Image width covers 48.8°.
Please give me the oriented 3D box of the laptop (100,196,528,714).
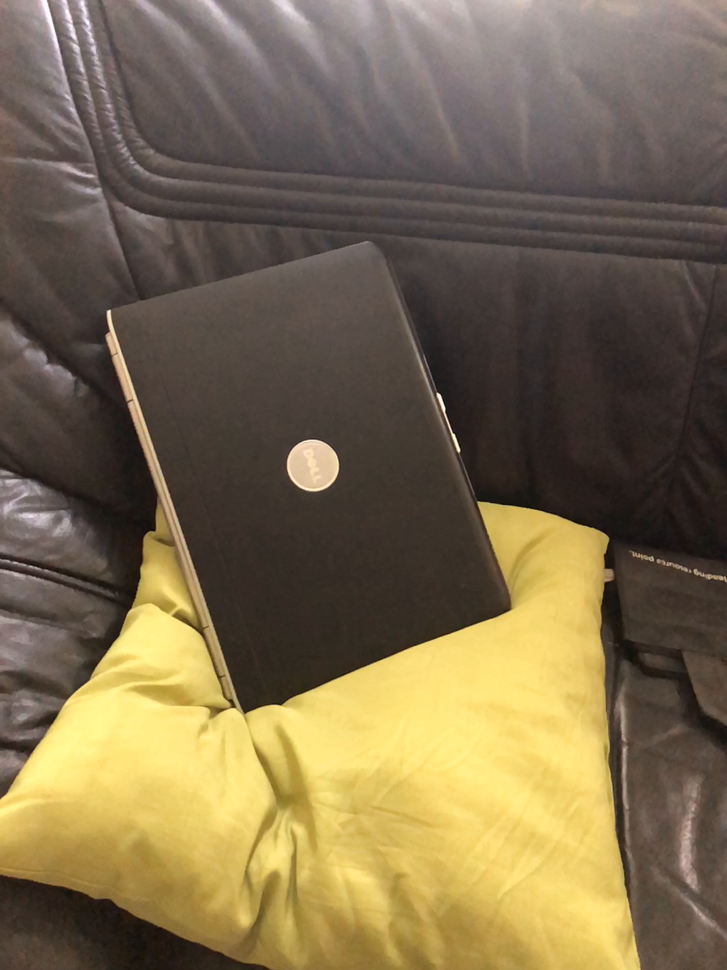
[{"bbox_3d":[-0.039,-0.033,0.661,0.247,0.033,0.345,-18,85,-12],"label":"laptop"}]
